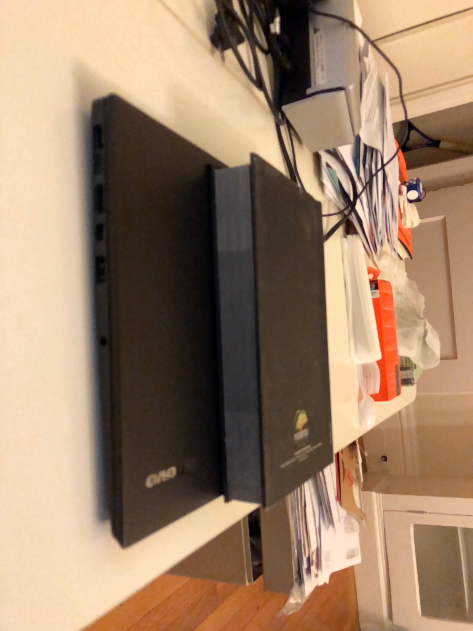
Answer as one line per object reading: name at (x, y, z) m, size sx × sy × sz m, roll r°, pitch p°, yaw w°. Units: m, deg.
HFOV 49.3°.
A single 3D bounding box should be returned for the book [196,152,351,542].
book at (0.034, 0.020, 0.380) m, size 0.151 × 0.040 × 0.230 m, roll 5°, pitch 79°, yaw -63°
